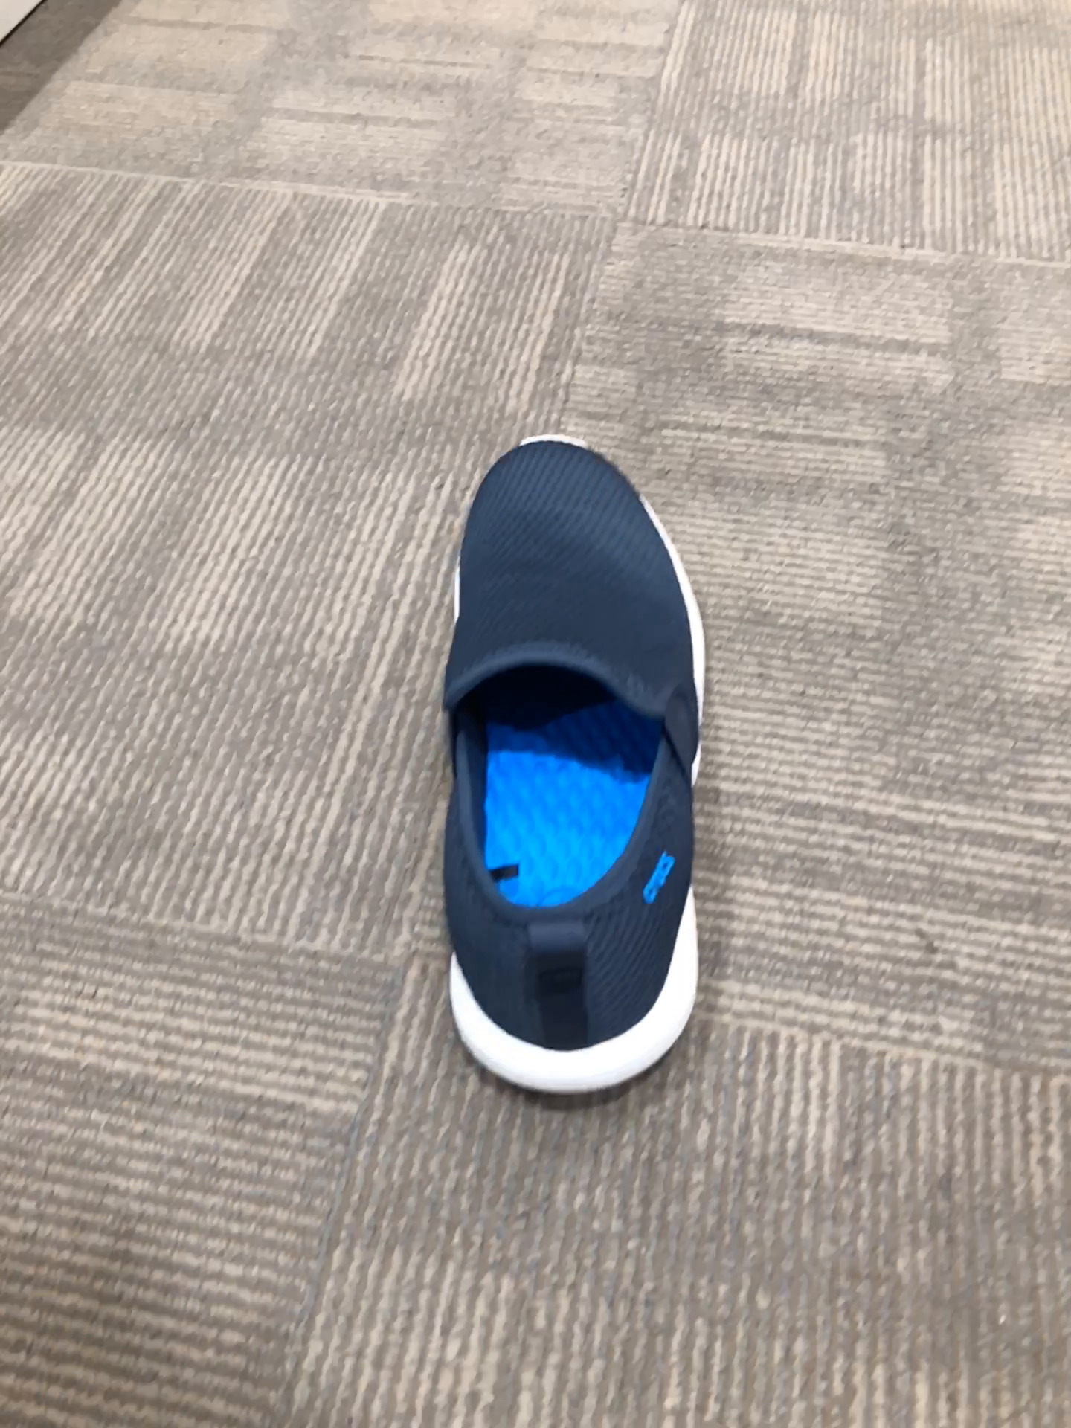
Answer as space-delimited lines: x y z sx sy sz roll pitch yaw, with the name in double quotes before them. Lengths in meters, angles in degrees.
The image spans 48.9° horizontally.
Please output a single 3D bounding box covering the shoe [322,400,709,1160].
"shoe" 0.004 0.015 0.461 0.110 0.119 0.271 2 54 3
